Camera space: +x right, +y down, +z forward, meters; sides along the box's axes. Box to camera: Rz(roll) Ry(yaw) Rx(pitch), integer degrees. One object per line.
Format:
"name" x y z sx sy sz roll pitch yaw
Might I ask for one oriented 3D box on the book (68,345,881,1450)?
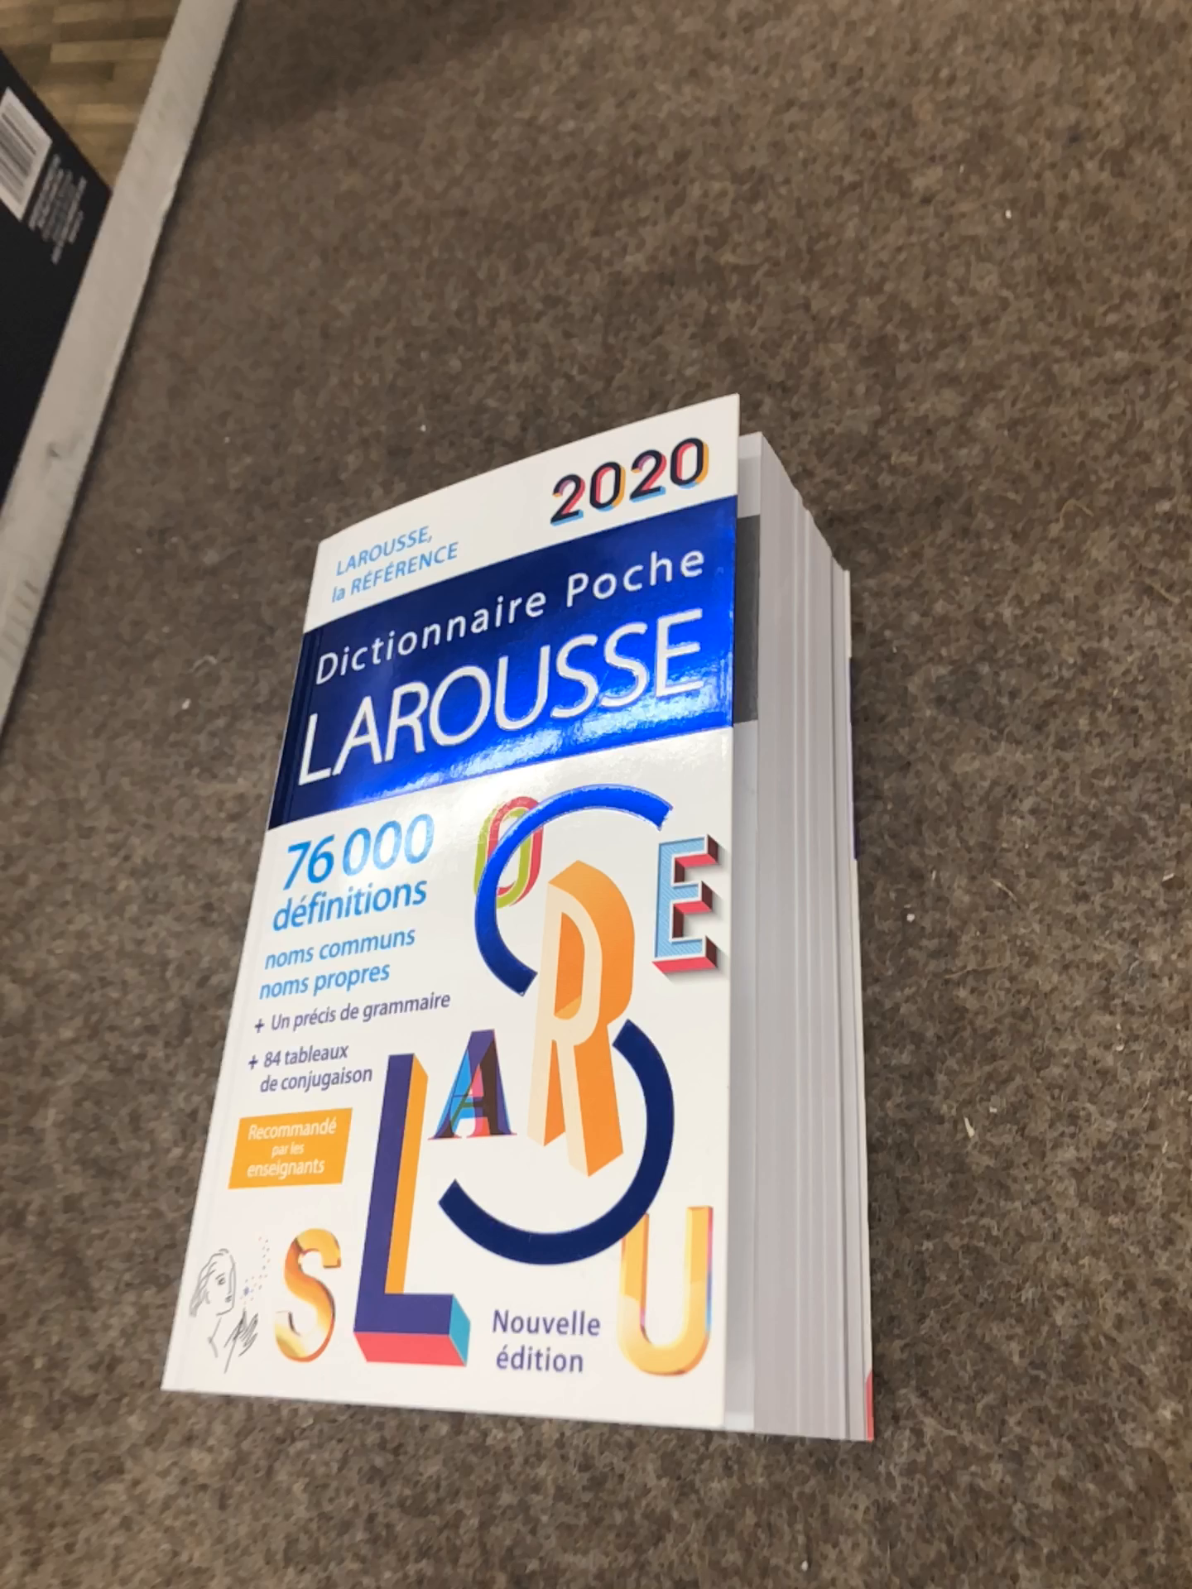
"book" -0.015 0.019 0.255 0.117 0.060 0.184 -9 62 23
